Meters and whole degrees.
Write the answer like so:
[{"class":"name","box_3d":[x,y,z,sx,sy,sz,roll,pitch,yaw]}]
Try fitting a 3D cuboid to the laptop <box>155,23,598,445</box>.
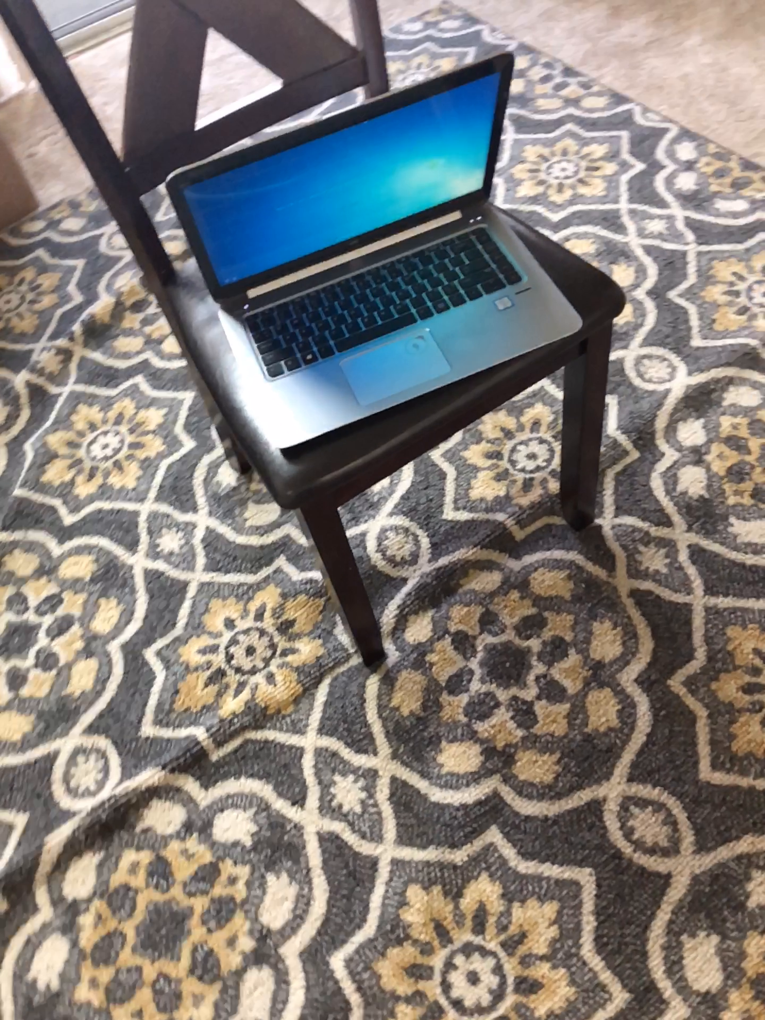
[{"class":"laptop","box_3d":[-0.003,-0.255,0.778,0.323,0.193,0.212,-21,55,-6]}]
